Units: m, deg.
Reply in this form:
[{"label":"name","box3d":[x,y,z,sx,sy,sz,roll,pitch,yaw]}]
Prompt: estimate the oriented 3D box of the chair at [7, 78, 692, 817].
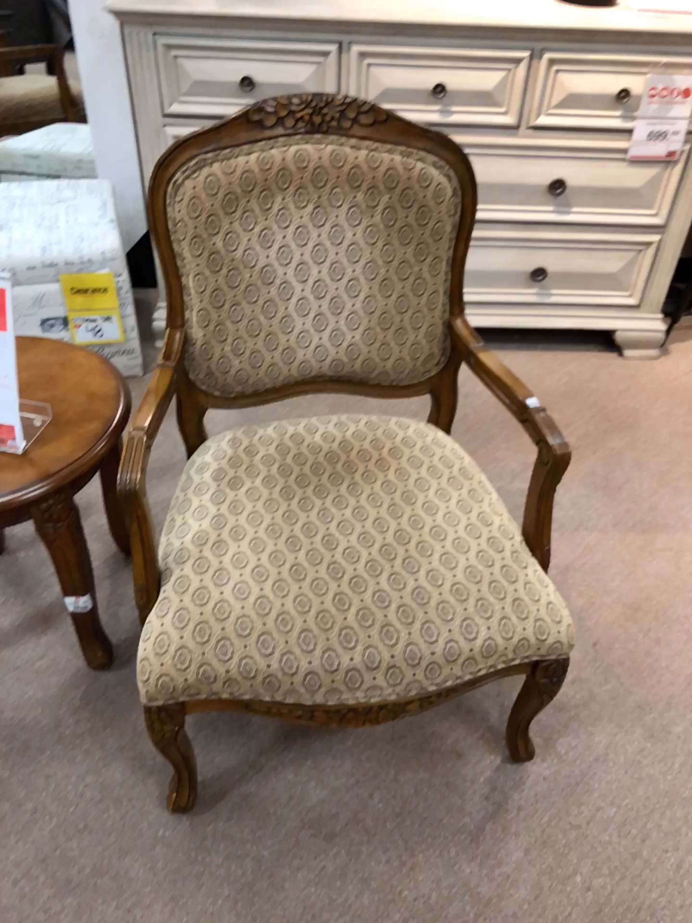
[{"label":"chair","box3d":[0.004,-0.009,1.359,0.780,1.063,0.705,-4,41,-8]}]
